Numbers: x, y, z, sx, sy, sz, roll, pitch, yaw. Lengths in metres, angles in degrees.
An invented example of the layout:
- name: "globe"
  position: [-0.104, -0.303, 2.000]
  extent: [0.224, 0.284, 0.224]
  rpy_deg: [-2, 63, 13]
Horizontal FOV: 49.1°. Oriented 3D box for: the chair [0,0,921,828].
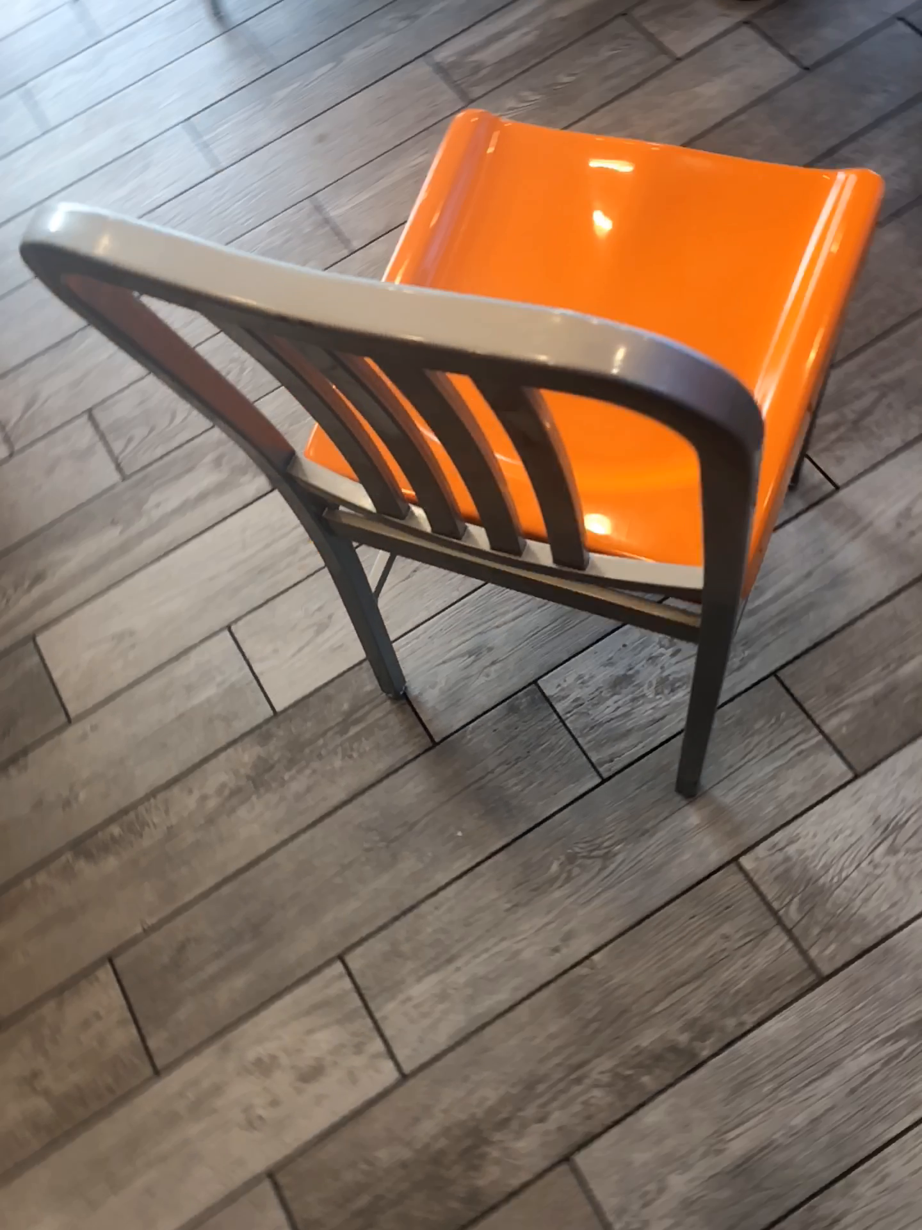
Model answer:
- name: "chair"
  position: [0.070, -0.228, 0.830]
  extent: [0.470, 0.819, 0.510]
  rpy_deg: [17, 71, 16]
